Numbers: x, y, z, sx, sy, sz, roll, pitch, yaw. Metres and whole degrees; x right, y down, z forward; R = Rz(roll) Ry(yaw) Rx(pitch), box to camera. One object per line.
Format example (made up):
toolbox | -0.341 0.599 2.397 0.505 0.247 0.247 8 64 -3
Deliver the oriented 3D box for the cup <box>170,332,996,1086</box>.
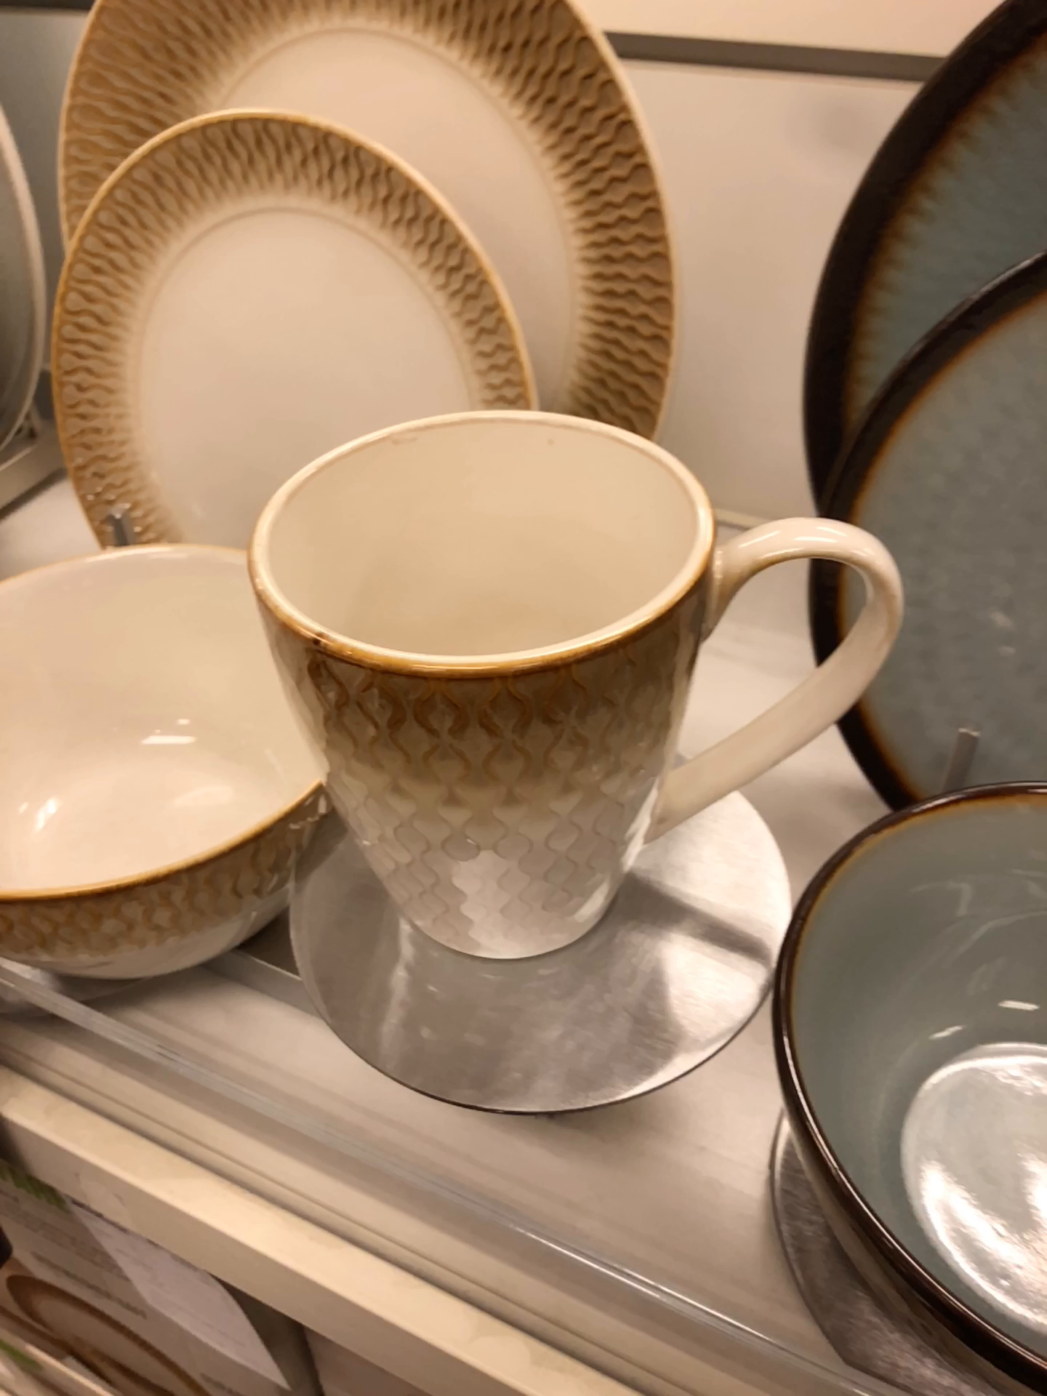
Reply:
cup | 0.008 -0.006 0.257 0.128 0.089 0.100 -19 44 -19
